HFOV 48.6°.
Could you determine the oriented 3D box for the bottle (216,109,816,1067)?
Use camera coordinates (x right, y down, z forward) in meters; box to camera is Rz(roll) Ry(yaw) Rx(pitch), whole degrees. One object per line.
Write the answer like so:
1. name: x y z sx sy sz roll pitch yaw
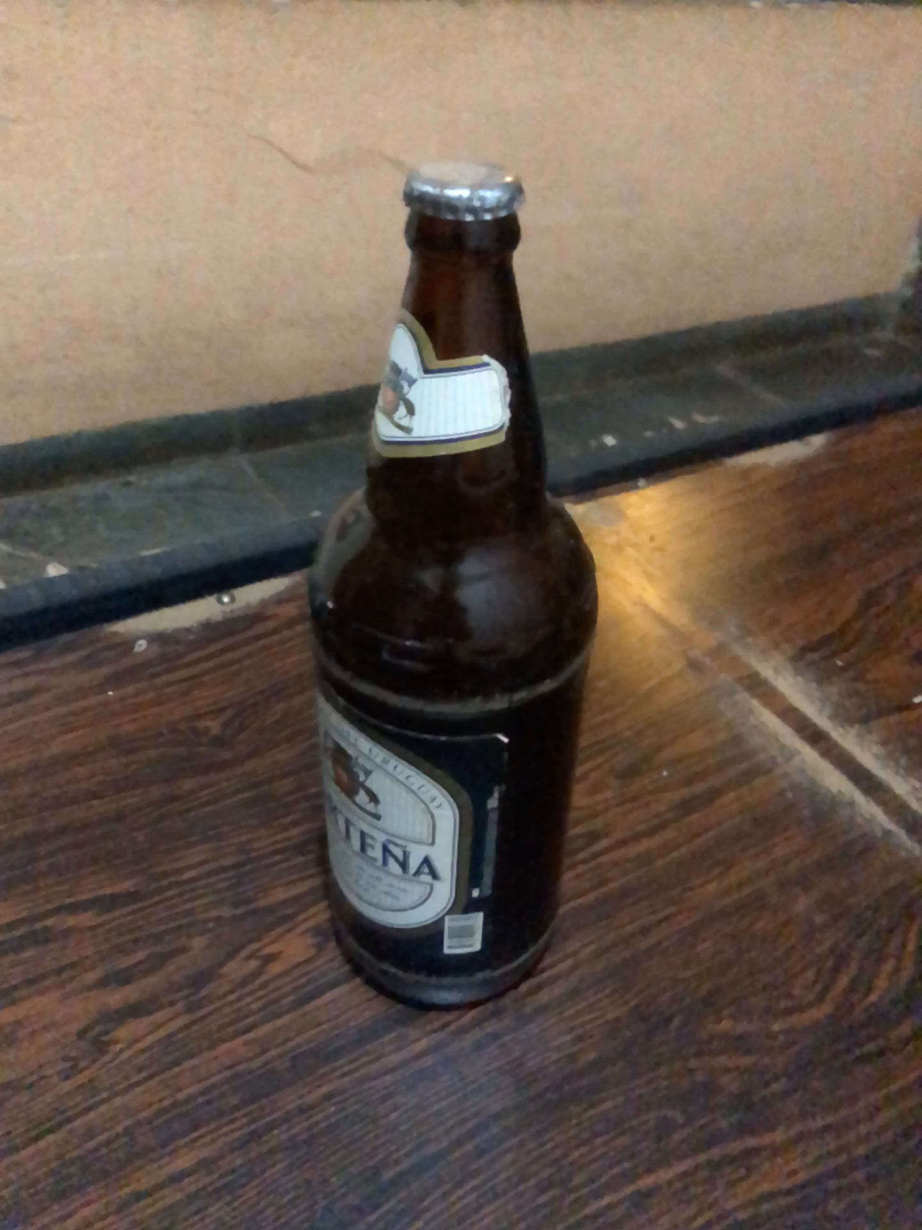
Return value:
1. bottle: 0.004 0.003 0.320 0.101 0.268 0.100 3 37 -2
